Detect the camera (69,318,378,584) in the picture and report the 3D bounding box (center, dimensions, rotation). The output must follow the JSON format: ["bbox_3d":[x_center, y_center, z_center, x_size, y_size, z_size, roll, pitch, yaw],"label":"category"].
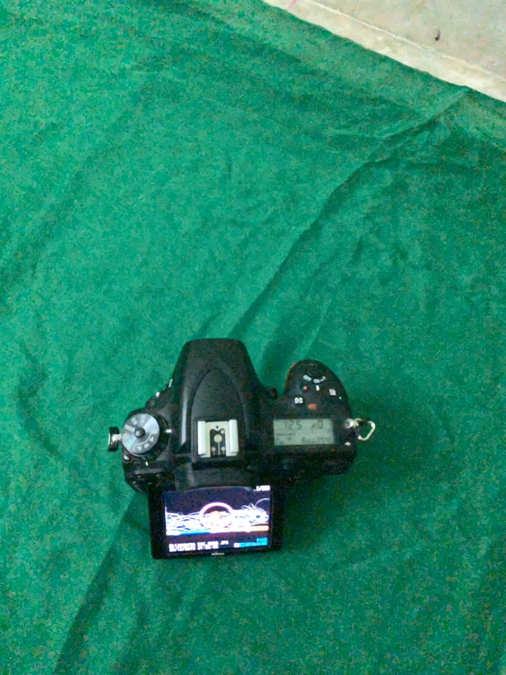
[{"bbox_3d":[-0.019,0.069,0.307,0.142,0.100,0.128,-1,67,-6],"label":"camera"}]
